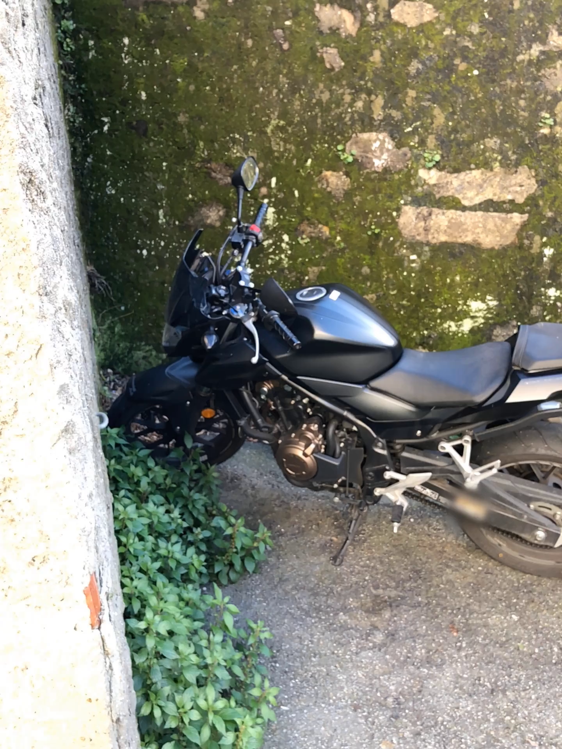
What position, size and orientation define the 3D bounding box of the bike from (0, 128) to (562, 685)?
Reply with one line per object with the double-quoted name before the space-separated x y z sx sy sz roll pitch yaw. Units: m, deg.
"bike" 0.159 0.005 1.941 1.783 1.198 0.714 9 21 9
